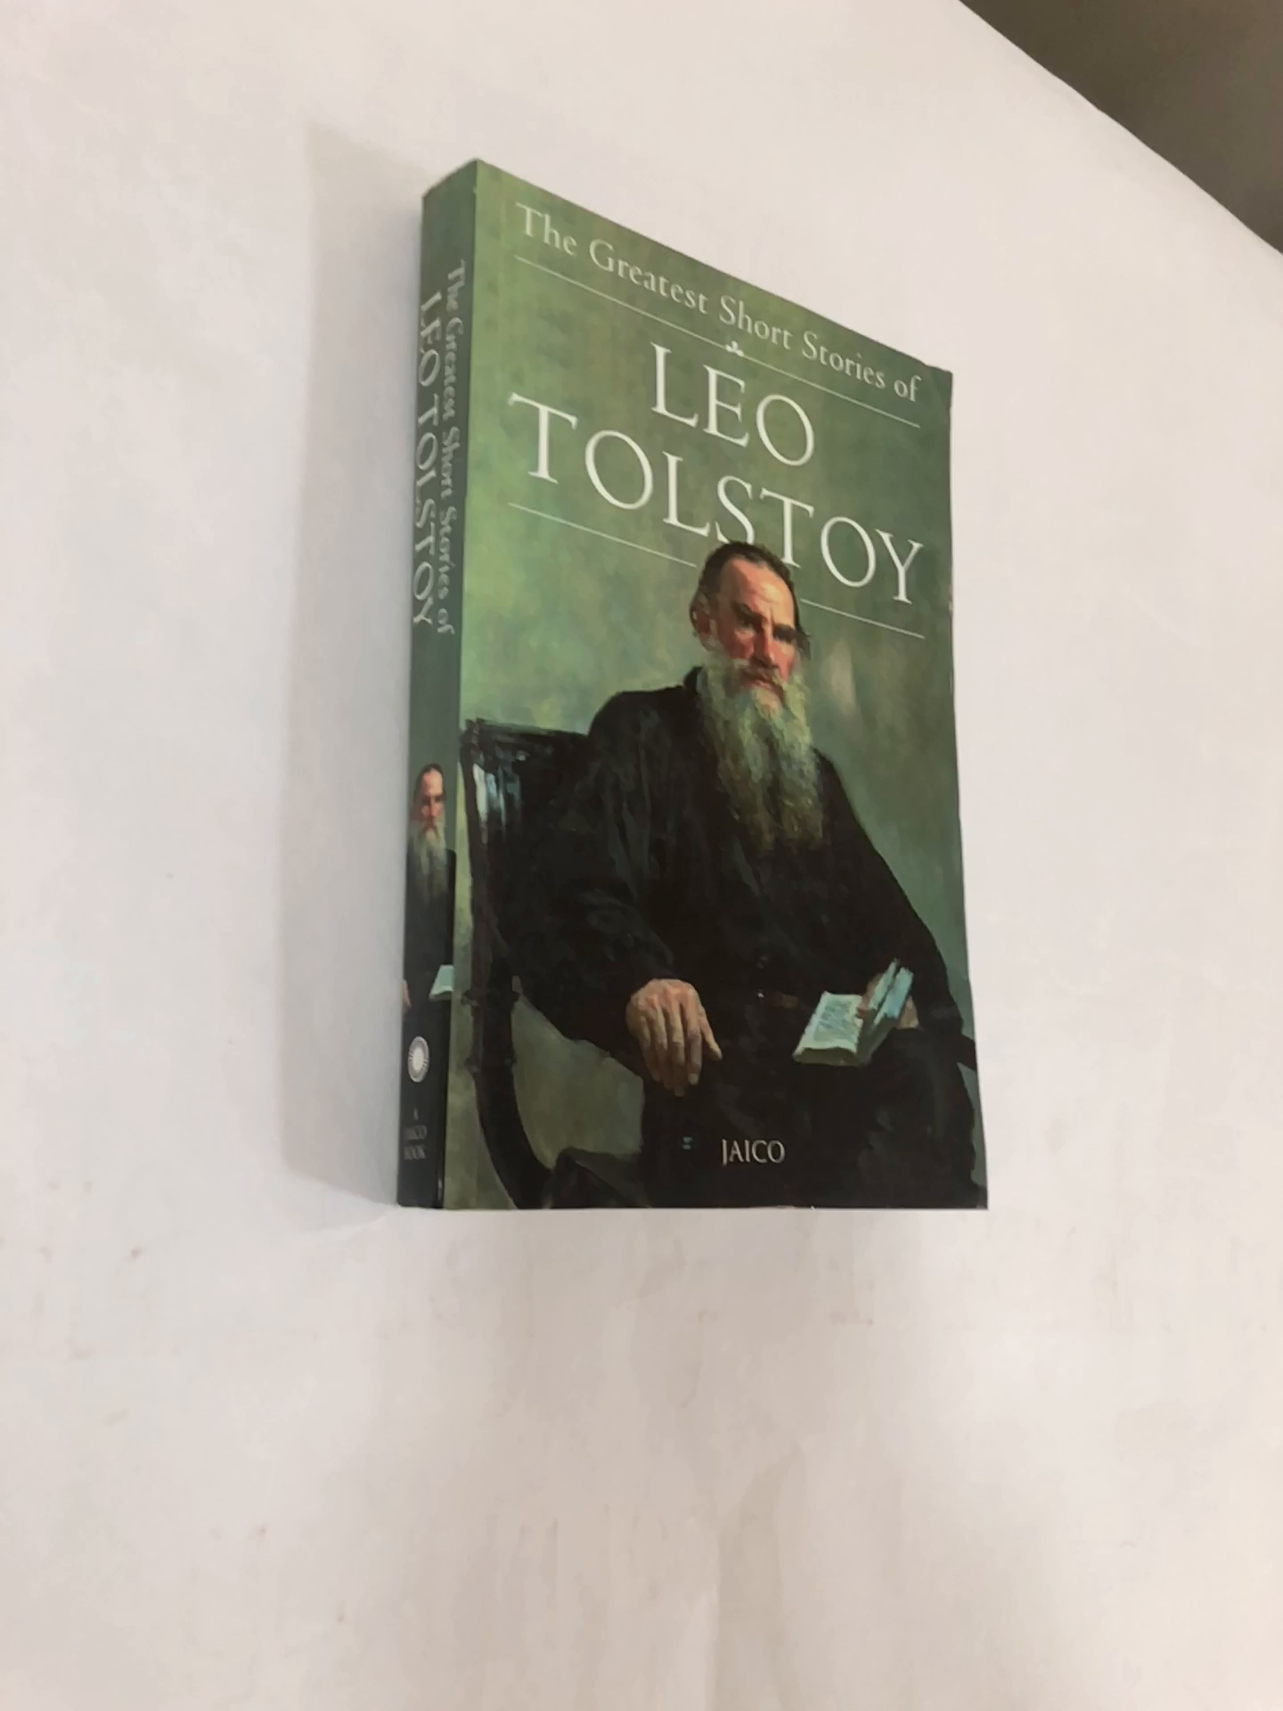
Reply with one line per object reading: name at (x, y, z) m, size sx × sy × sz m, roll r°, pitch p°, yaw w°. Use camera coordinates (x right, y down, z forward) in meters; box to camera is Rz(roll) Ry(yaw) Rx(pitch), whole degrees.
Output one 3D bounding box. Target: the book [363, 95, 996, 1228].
book at (0.013, -0.036, 0.324) m, size 0.151 × 0.020 × 0.230 m, roll 9°, pitch 72°, yaw -36°
